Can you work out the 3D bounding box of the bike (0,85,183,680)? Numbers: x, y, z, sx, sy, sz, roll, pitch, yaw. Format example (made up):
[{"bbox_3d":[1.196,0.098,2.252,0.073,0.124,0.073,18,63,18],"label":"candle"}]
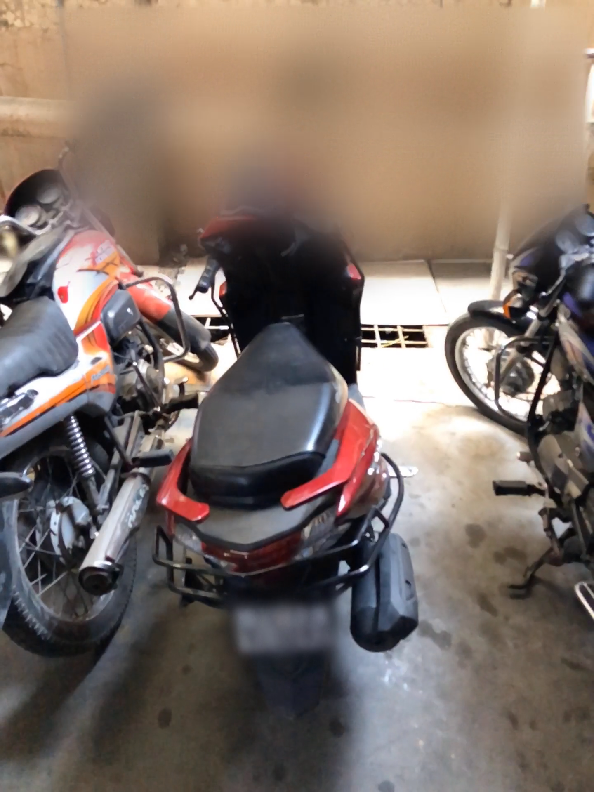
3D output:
[{"bbox_3d":[-0.883,-0.214,1.984,0.838,1.089,1.658,2,34,-3],"label":"bike"}]

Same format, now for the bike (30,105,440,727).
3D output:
[{"bbox_3d":[-0.151,-0.060,1.896,0.630,1.139,1.446,2,36,-3],"label":"bike"}]
